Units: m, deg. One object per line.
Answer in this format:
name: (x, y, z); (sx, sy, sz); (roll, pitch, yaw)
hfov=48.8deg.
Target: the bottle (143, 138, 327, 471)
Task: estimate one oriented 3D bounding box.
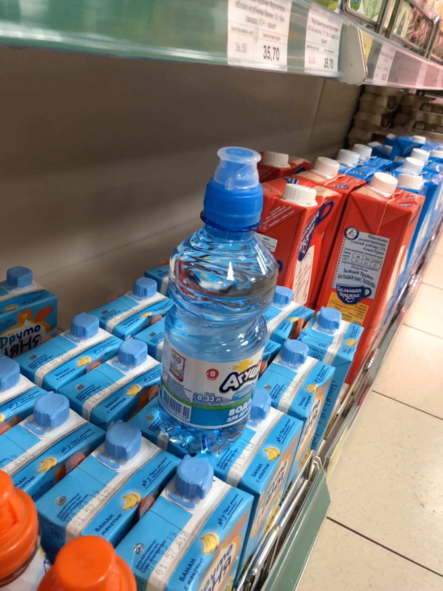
bottle: (0.001, 0.007, 0.281); (0.056, 0.173, 0.060); (7, 29, -4)
